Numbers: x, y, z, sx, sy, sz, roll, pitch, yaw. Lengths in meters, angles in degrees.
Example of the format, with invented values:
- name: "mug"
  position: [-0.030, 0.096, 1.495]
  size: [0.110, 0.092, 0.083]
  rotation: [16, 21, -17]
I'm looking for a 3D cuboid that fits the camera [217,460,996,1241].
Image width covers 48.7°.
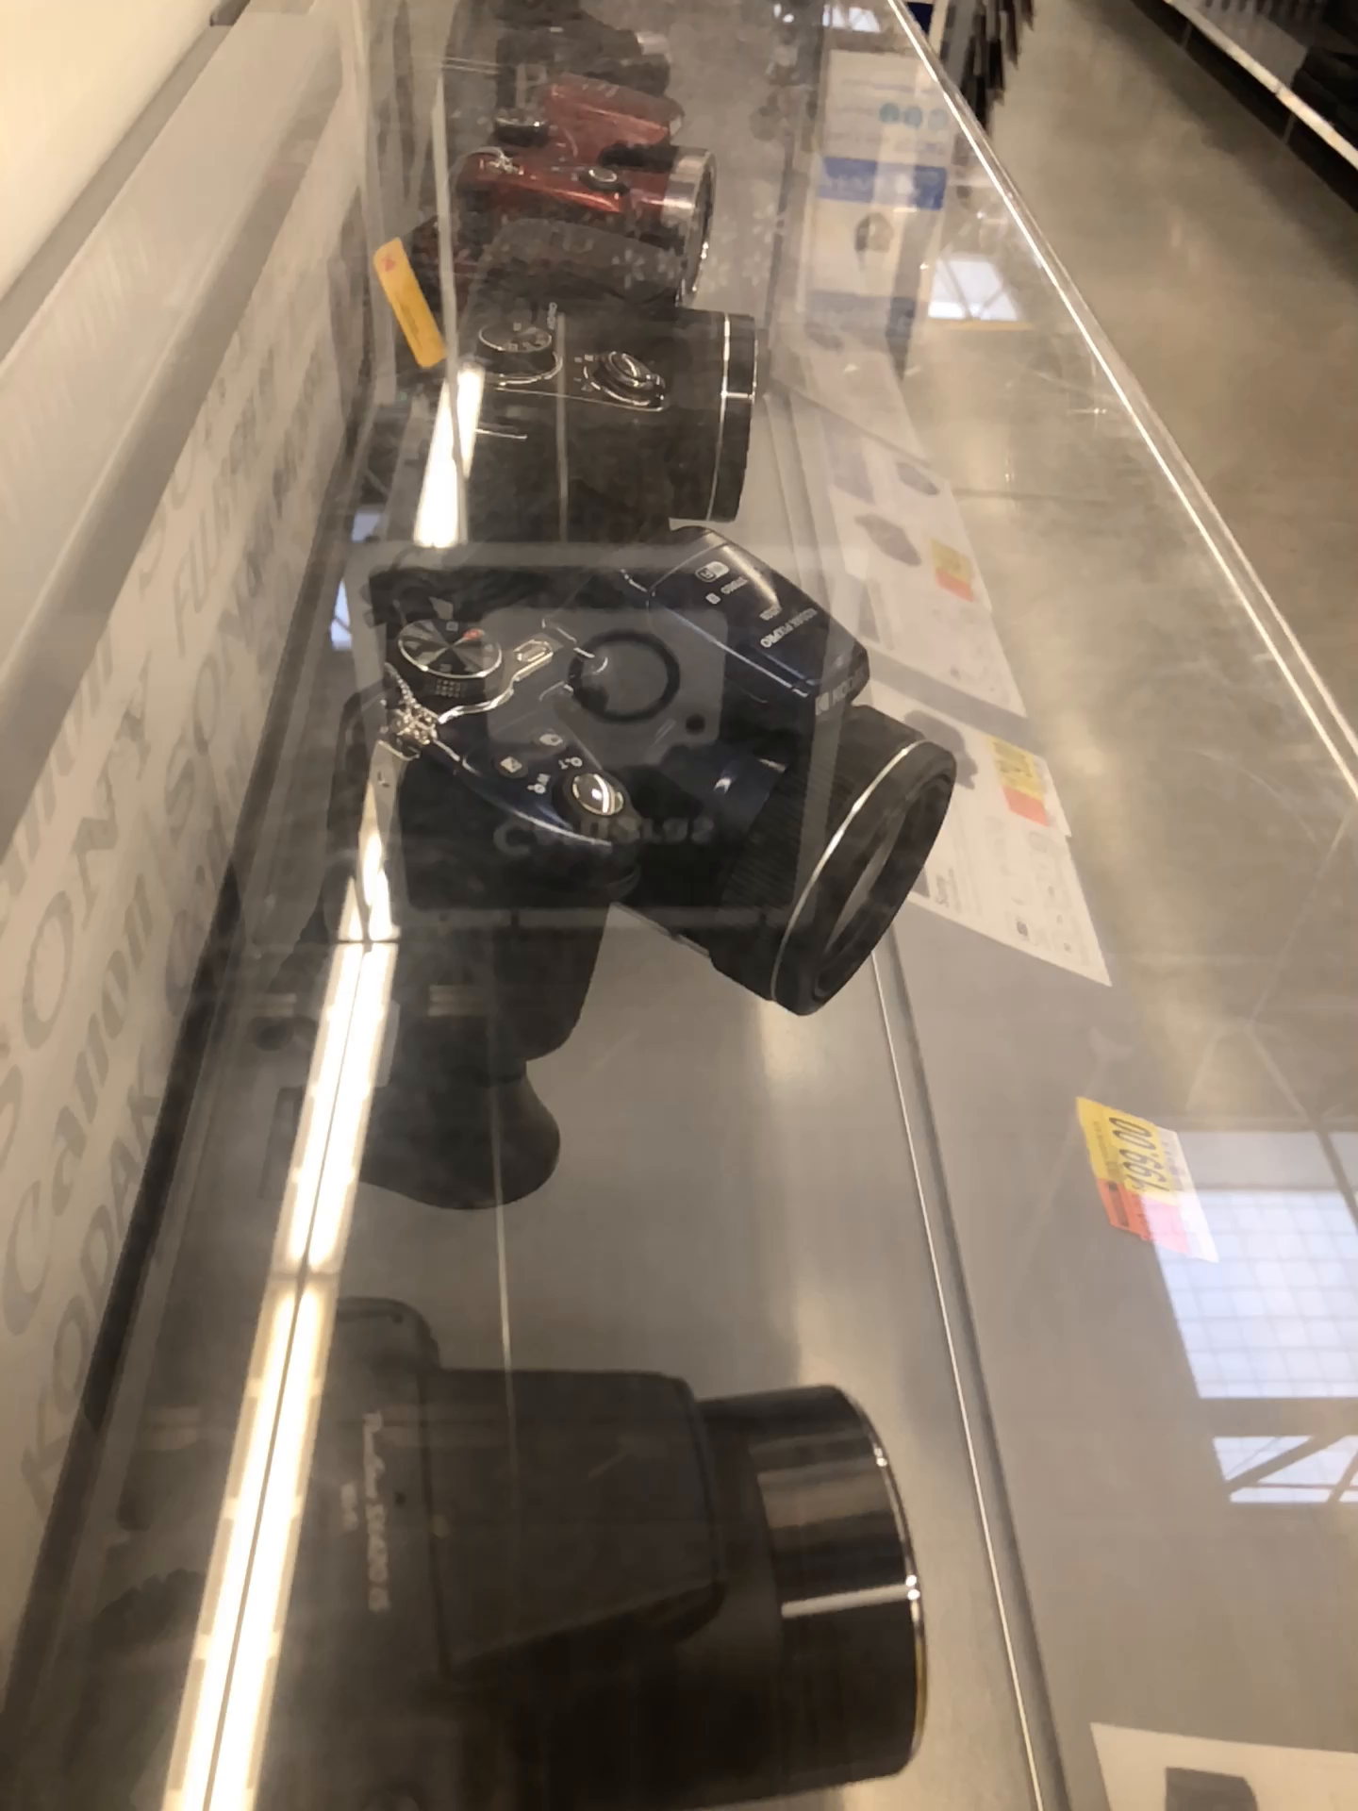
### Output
- name: "camera"
  position: [-0.013, -0.020, 0.335]
  size: [0.110, 0.090, 0.121]
  rotation: [26, 45, 20]
